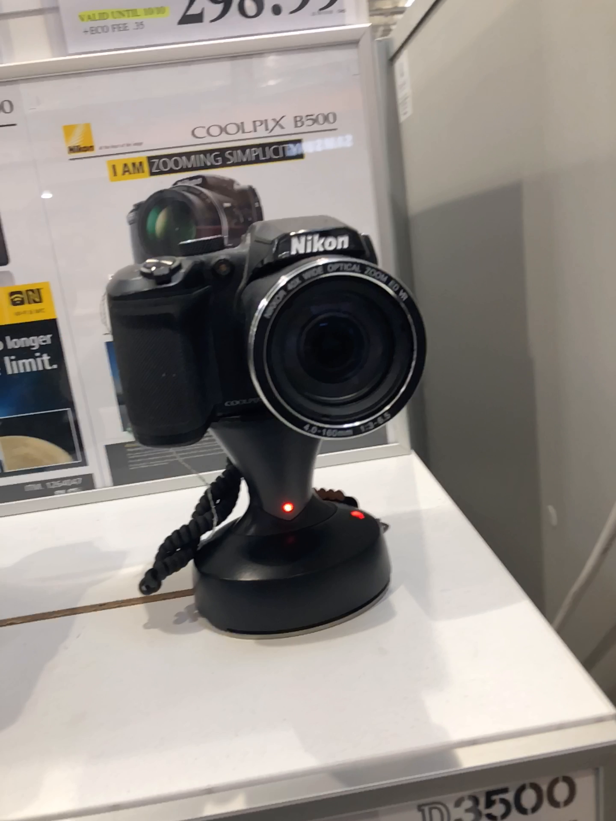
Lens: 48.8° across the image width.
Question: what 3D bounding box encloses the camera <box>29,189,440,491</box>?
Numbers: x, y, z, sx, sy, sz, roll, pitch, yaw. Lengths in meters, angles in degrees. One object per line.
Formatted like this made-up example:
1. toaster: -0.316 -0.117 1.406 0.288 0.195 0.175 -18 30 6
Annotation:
1. camera: -0.025 -0.033 0.261 0.120 0.080 0.090 -9 15 -7
